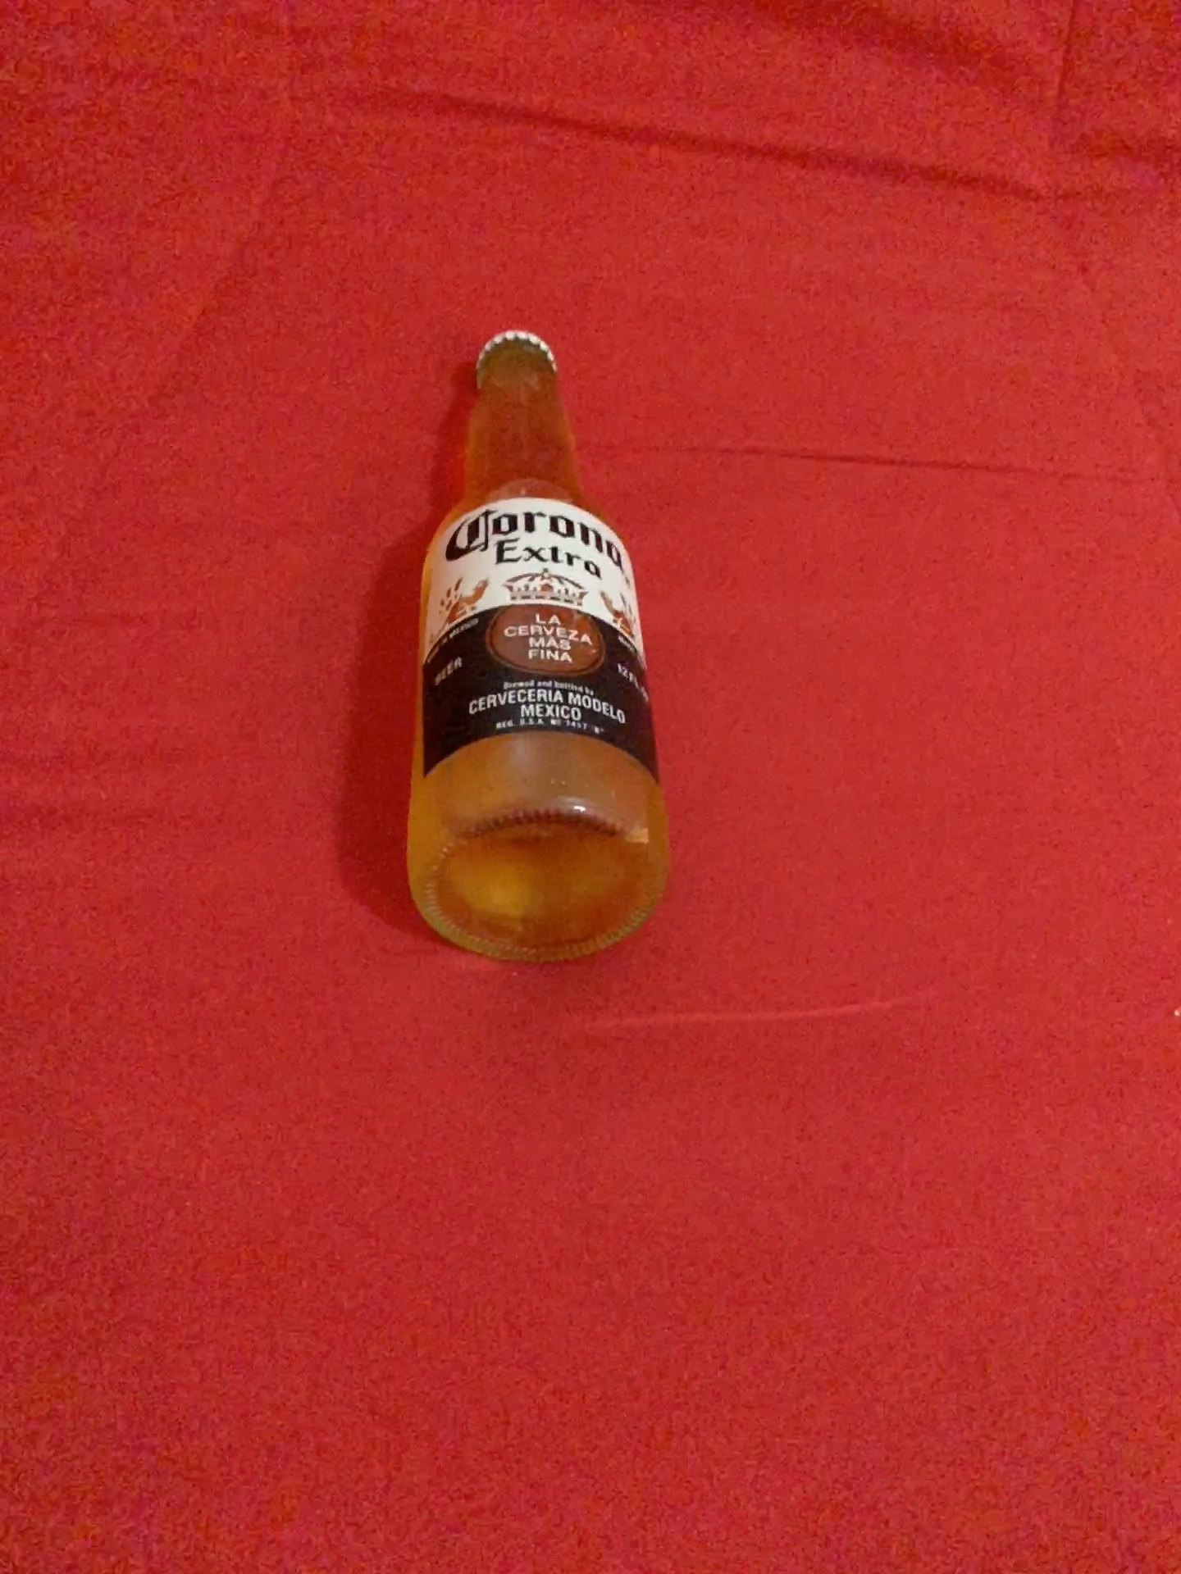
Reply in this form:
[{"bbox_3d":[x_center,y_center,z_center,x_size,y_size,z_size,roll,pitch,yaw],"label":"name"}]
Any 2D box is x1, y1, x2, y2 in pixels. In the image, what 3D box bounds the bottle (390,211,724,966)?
[{"bbox_3d":[-0.018,-0.074,0.360,0.070,0.070,0.251,0,51,-7],"label":"bottle"}]
